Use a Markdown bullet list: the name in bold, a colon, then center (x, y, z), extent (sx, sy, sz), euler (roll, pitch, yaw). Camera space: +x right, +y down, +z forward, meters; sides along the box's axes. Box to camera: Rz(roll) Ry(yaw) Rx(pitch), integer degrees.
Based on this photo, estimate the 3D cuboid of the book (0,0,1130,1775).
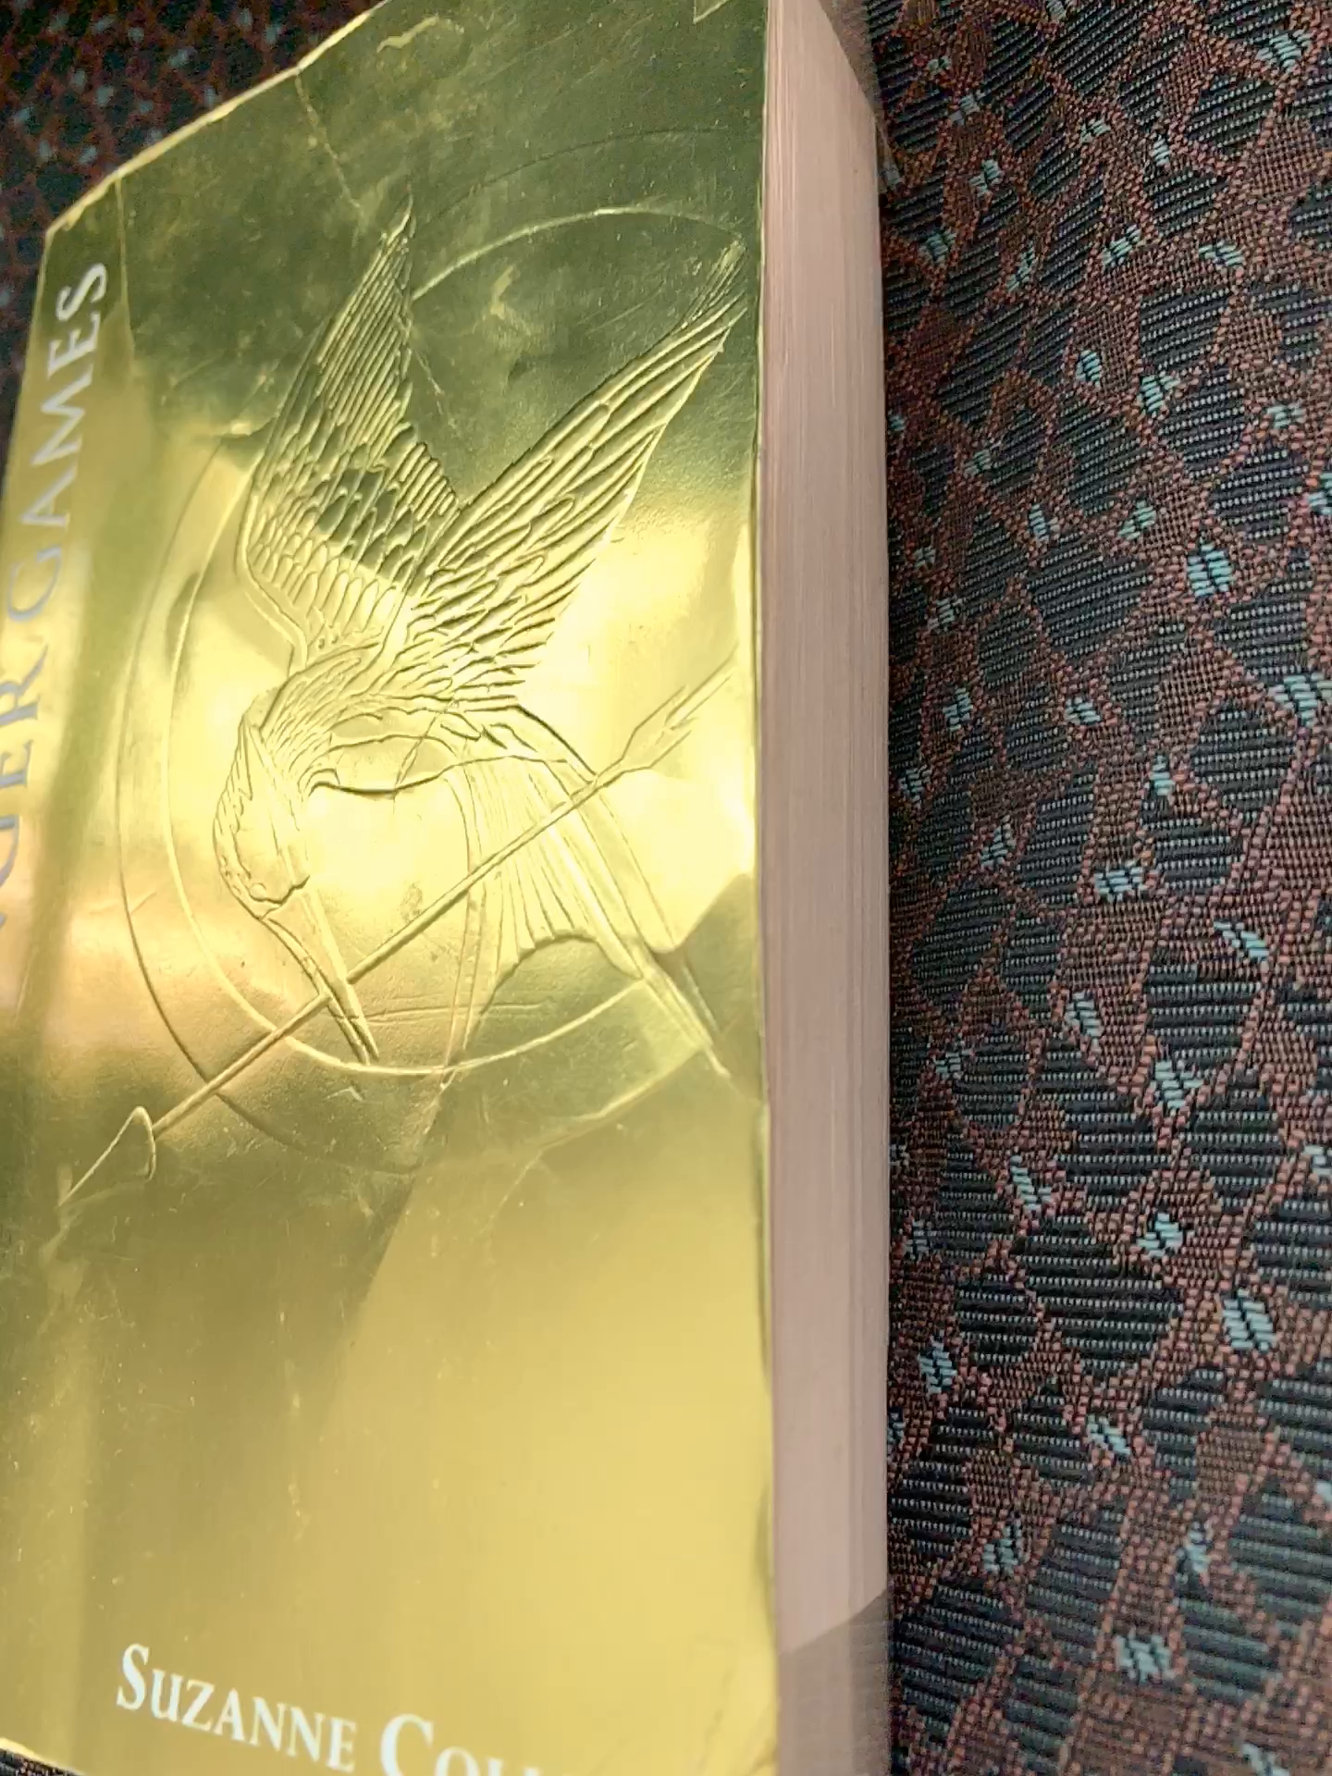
- **book**: center (-0.028, -0.011, 0.169), extent (0.142, 0.037, 0.200), euler (-8, 72, 32)
